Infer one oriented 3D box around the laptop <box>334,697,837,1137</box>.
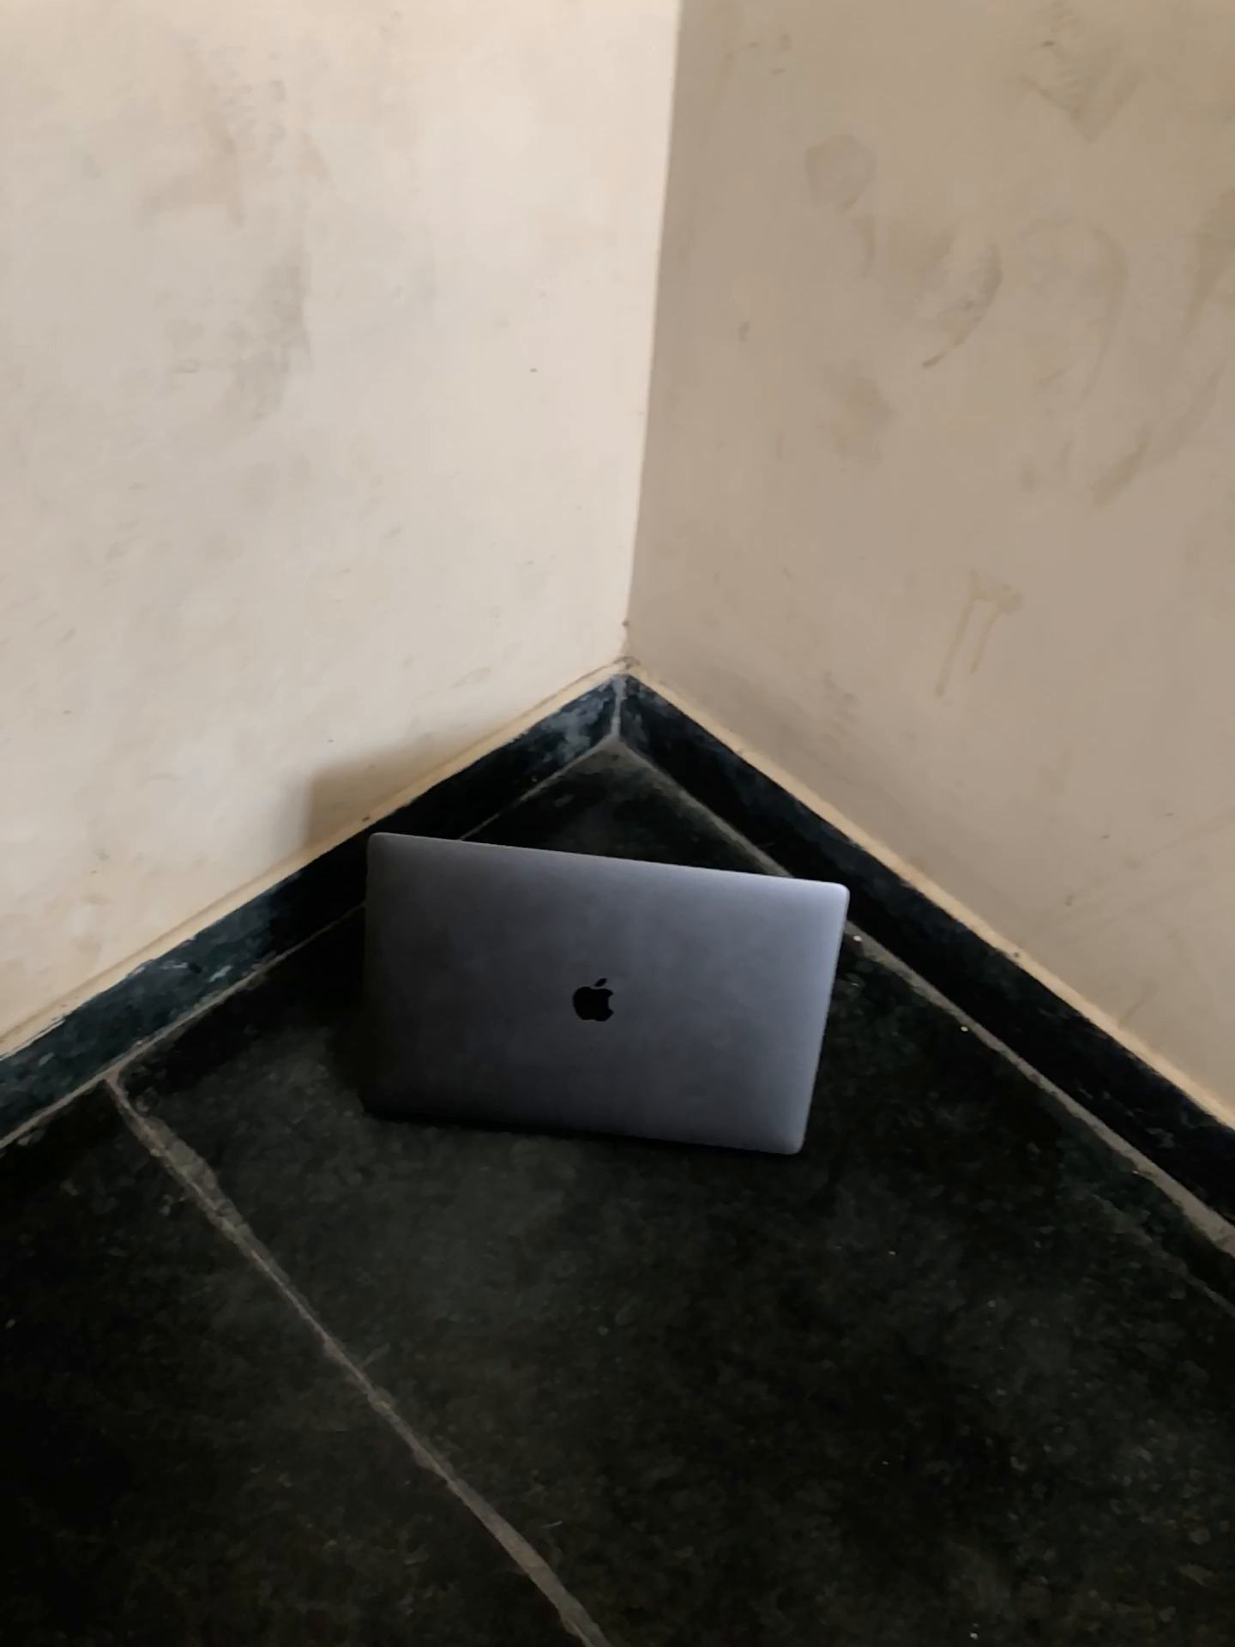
[{"bbox_3d":[-0.018,0.070,1.025,0.329,0.198,0.222,6,50,2],"label":"laptop"}]
